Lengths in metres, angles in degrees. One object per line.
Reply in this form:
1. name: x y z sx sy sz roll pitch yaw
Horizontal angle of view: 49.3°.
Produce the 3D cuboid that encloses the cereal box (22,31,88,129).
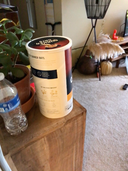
1. cereal box: -0.028 -0.021 0.443 0.140 0.248 0.141 -14 35 -18
